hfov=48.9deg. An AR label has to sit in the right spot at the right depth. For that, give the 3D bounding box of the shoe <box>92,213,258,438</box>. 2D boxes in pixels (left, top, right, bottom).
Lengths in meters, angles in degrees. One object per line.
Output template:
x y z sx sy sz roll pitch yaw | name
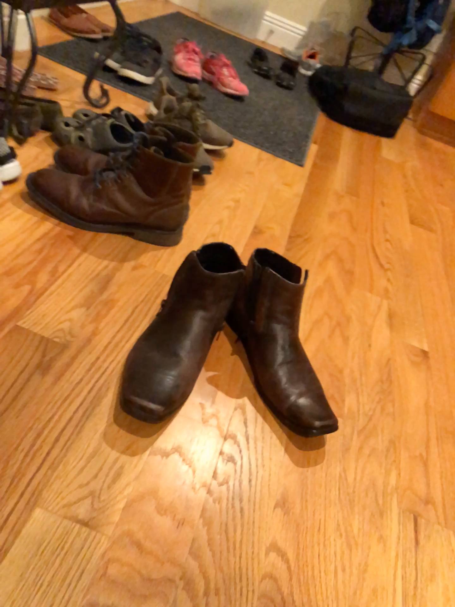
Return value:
-0.061 0.013 0.697 0.109 0.142 0.292 23 36 1 | shoe

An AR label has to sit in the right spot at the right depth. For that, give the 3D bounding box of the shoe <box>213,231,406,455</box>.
0.100 0.044 0.749 0.109 0.152 0.301 -1 42 -28 | shoe
